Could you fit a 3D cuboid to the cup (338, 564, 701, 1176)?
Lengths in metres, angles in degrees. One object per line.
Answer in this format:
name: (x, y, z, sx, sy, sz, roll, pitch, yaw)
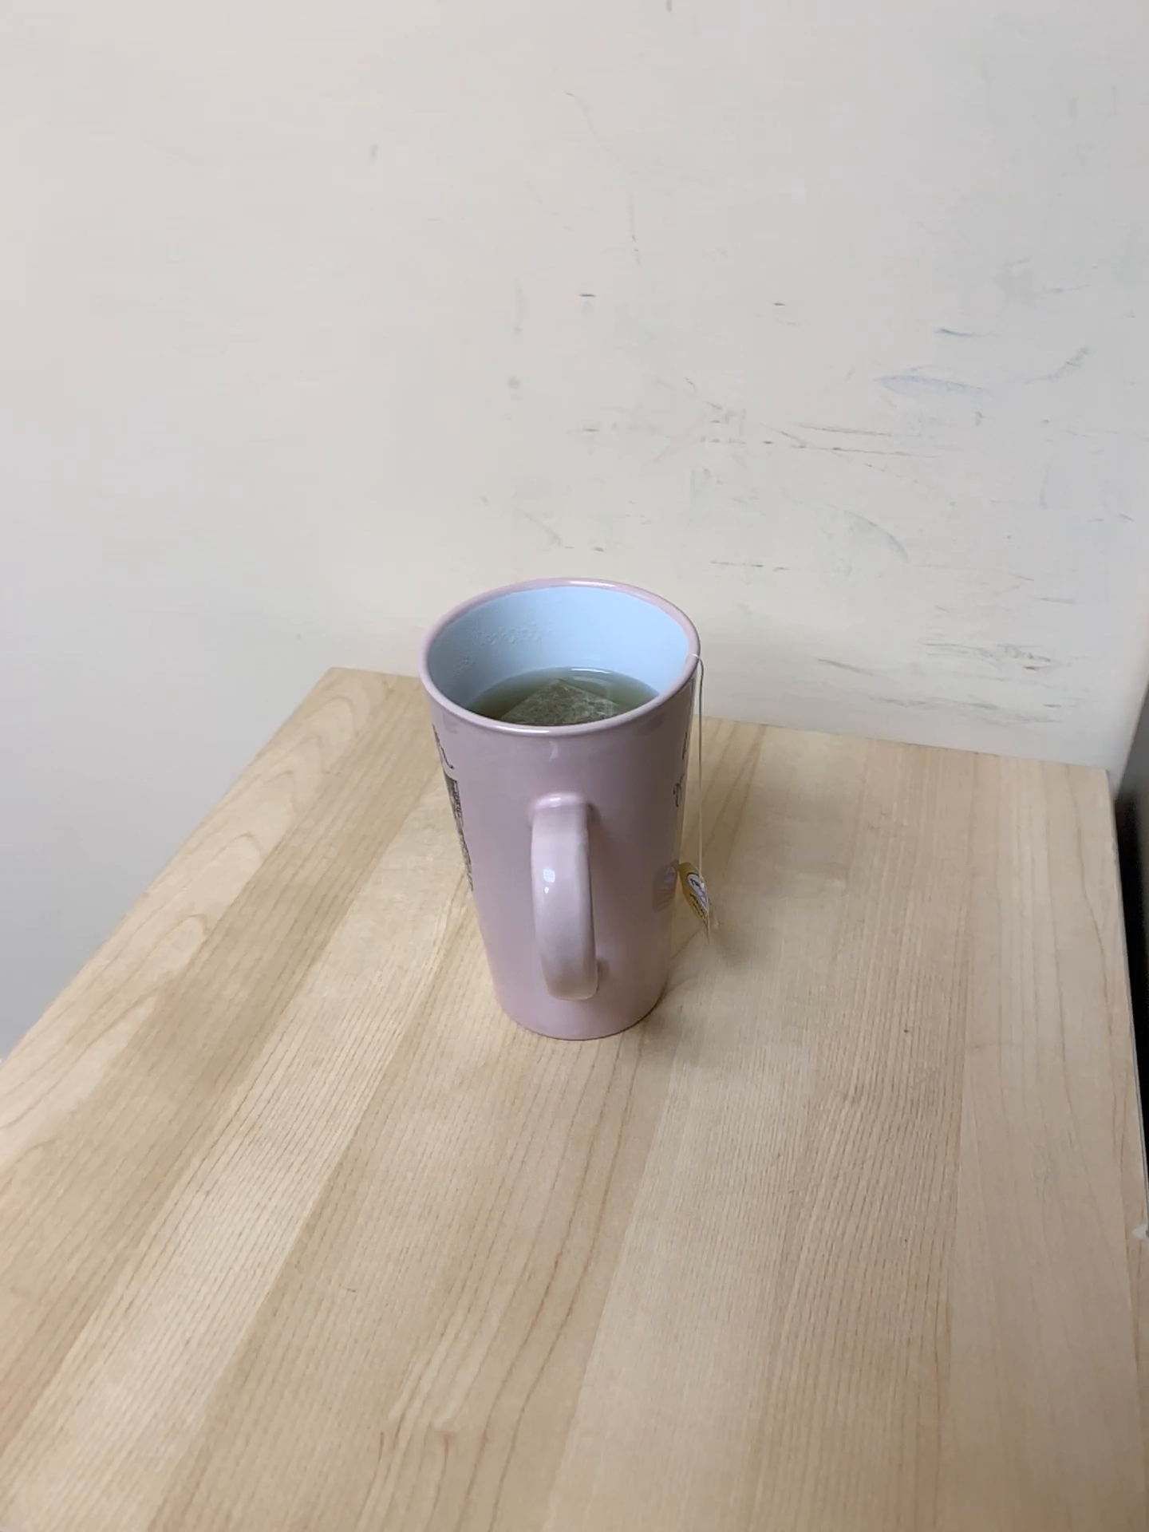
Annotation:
cup: (-0.005, 0.032, 0.395, 0.092, 0.151, 0.134, 1, 37, 6)
